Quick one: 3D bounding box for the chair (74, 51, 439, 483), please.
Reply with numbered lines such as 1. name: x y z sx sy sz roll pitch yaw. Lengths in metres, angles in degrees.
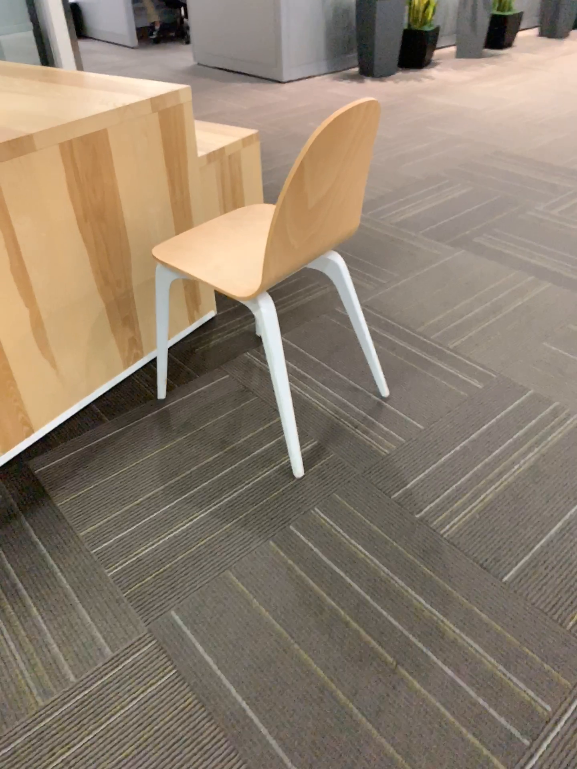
1. chair: -0.056 -0.308 1.466 0.582 0.805 0.481 25 46 30
